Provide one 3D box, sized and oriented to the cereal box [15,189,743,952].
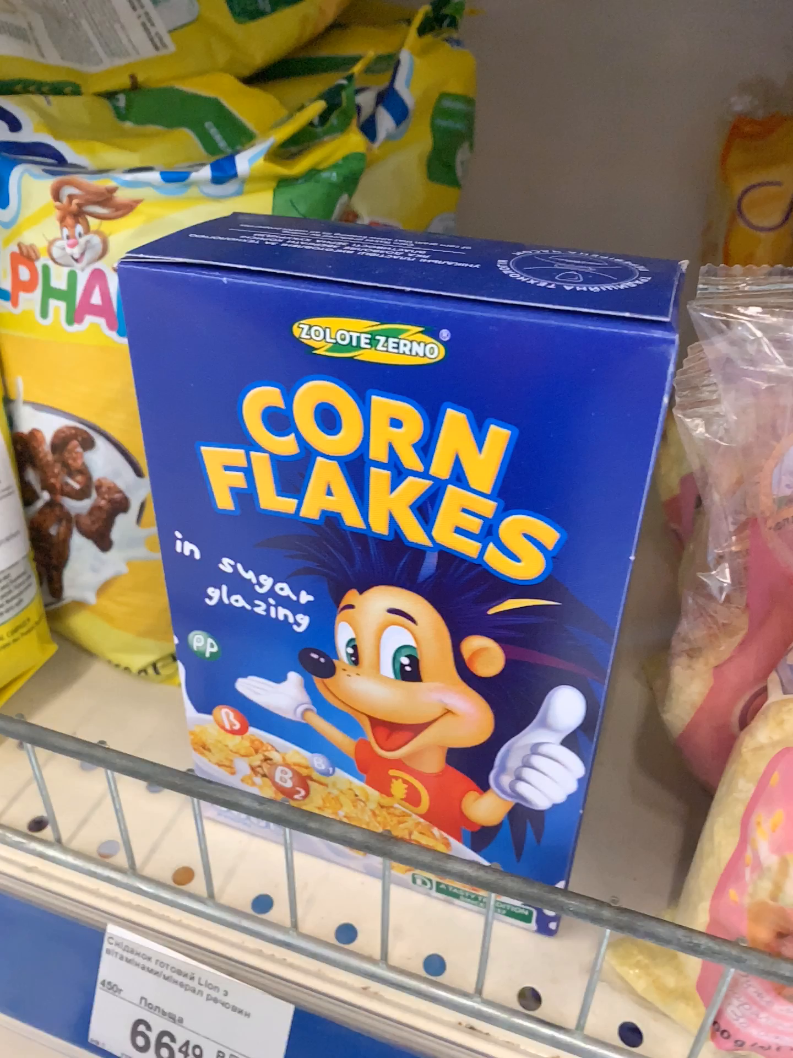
[{"bbox_3d":[-0.004,0.012,0.202,0.130,0.159,0.050,12,34,17],"label":"cereal box"}]
